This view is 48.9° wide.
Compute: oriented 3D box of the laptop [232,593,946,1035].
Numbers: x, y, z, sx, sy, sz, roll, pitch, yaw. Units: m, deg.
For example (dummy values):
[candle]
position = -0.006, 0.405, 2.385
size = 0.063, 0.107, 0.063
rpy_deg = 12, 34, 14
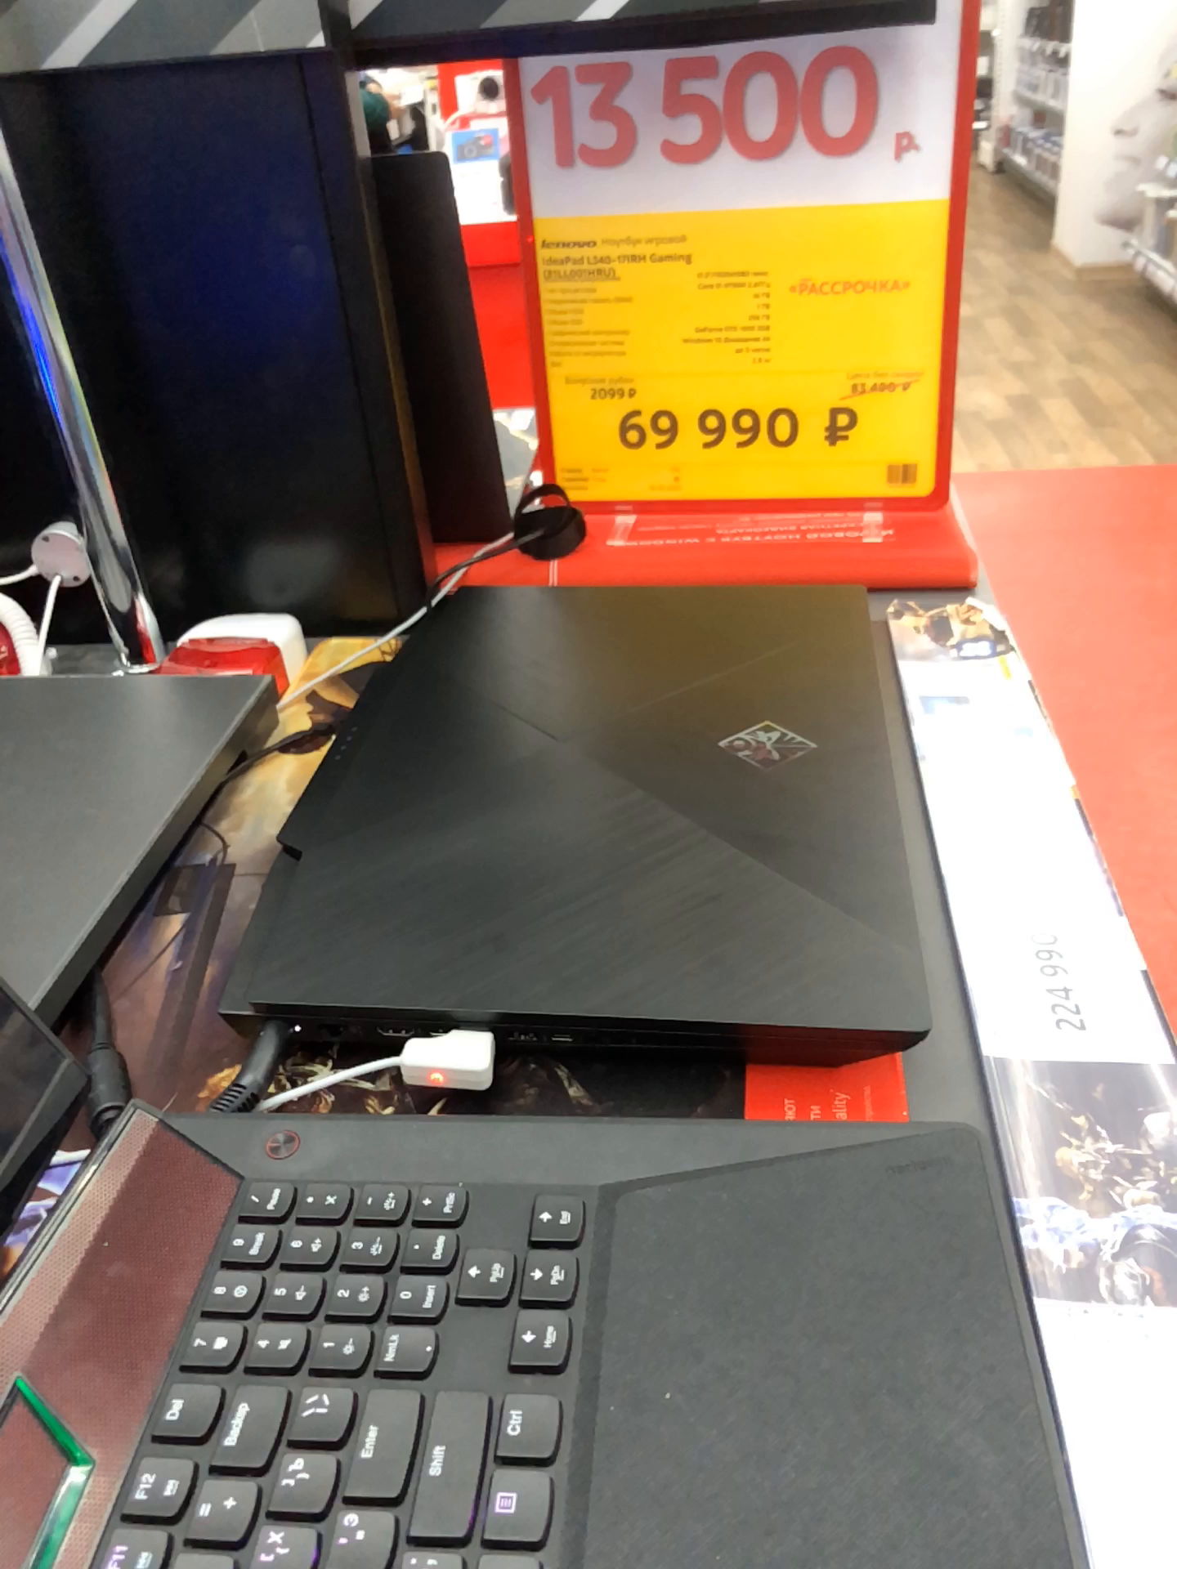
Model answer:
[laptop]
position = 0.018, -0.013, 0.639
size = 0.261, 0.002, 0.400
rpy_deg = -1, 31, 7
